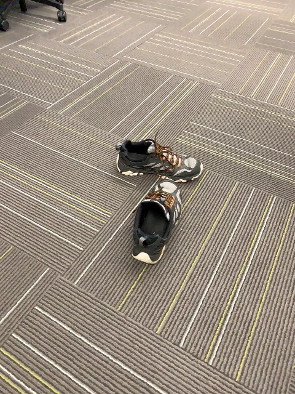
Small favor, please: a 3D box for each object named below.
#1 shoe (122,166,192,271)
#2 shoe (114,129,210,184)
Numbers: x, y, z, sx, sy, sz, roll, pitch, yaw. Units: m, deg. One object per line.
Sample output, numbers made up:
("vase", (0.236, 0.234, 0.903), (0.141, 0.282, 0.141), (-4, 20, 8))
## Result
("shoe", (0.035, 0.054, 0.910), (0.110, 0.099, 0.301), (16, 50, 12))
("shoe", (0.050, -0.138, 1.024), (0.300, 0.099, 0.111), (9, 49, 5))
